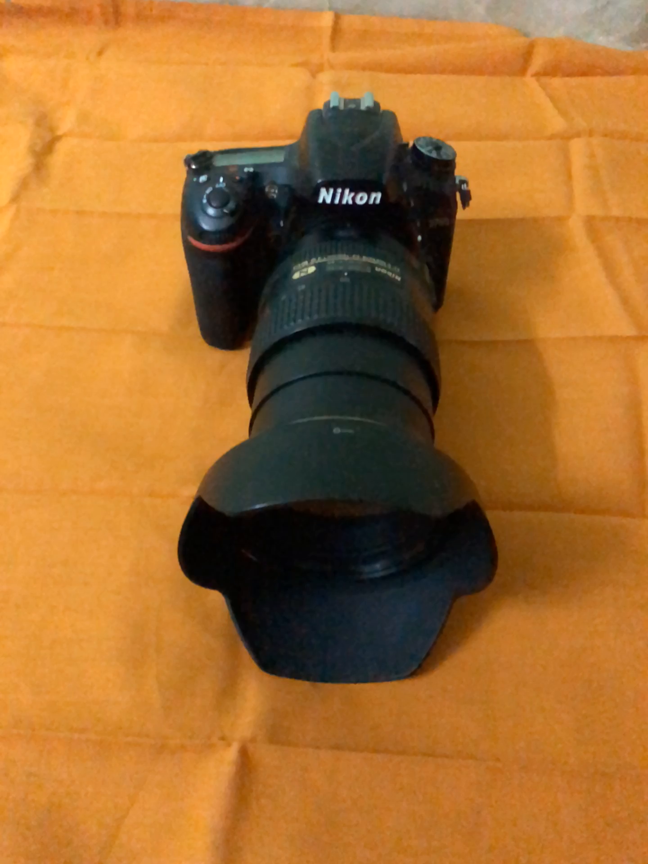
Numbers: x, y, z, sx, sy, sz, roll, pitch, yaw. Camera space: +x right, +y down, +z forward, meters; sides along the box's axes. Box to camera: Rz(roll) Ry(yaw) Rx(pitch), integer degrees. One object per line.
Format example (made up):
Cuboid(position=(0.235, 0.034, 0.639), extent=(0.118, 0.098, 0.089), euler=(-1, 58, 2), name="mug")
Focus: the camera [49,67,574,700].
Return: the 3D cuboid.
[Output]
Cuboid(position=(-0.001, -0.040, 0.311), extent=(0.130, 0.120, 0.265), euler=(0, 49, 1), name="camera")
